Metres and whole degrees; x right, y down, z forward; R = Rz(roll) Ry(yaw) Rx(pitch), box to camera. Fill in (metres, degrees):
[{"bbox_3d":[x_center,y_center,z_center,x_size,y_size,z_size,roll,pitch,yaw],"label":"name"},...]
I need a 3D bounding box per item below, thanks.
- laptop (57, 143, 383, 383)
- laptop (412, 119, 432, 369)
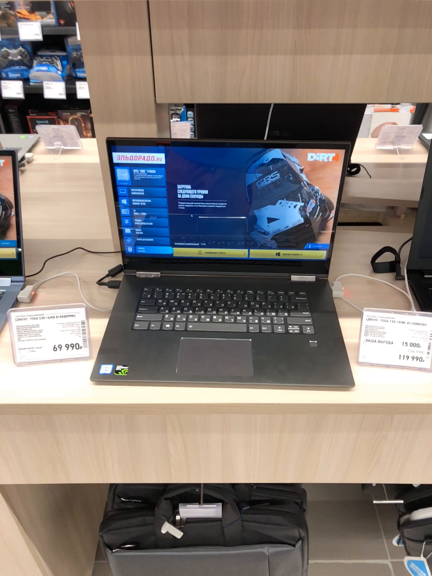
[{"bbox_3d":[0.012,-0.046,0.690,0.358,0.240,0.253,1,36,3],"label":"laptop"},{"bbox_3d":[0.493,-0.075,0.690,0.305,0.238,0.309,2,34,8],"label":"laptop"}]
